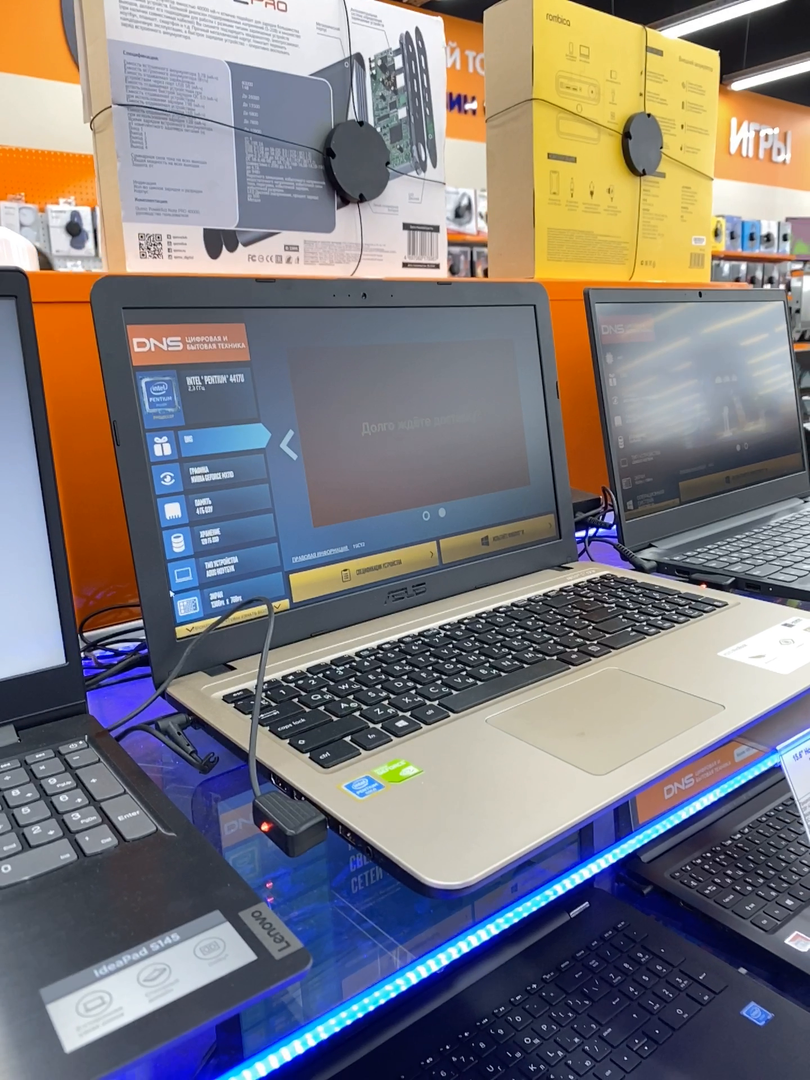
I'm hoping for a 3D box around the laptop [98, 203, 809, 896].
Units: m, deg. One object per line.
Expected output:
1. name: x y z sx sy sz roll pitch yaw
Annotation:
1. laptop: 0.067 -0.042 0.495 0.376 0.230 0.294 -12 16 -37
